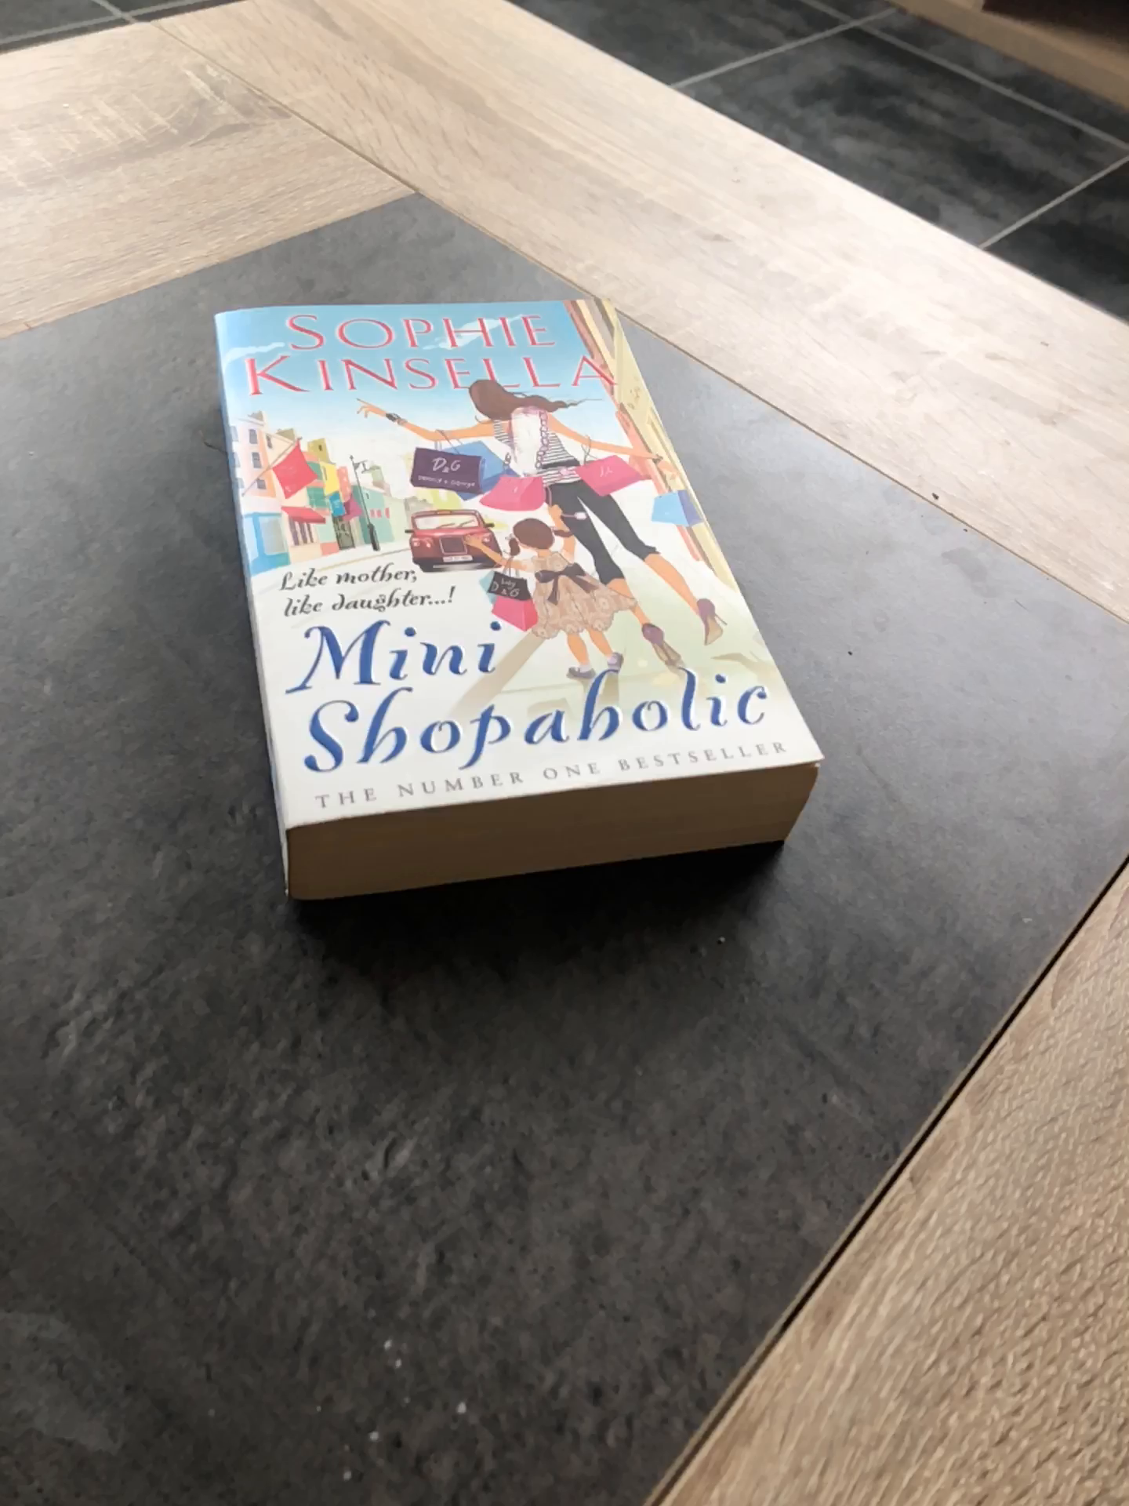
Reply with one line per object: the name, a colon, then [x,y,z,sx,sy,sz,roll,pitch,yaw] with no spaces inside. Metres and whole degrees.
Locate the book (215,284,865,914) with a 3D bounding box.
book: [-0.020,-0.059,0.344,0.132,0.036,0.201,-6,51,-14]
